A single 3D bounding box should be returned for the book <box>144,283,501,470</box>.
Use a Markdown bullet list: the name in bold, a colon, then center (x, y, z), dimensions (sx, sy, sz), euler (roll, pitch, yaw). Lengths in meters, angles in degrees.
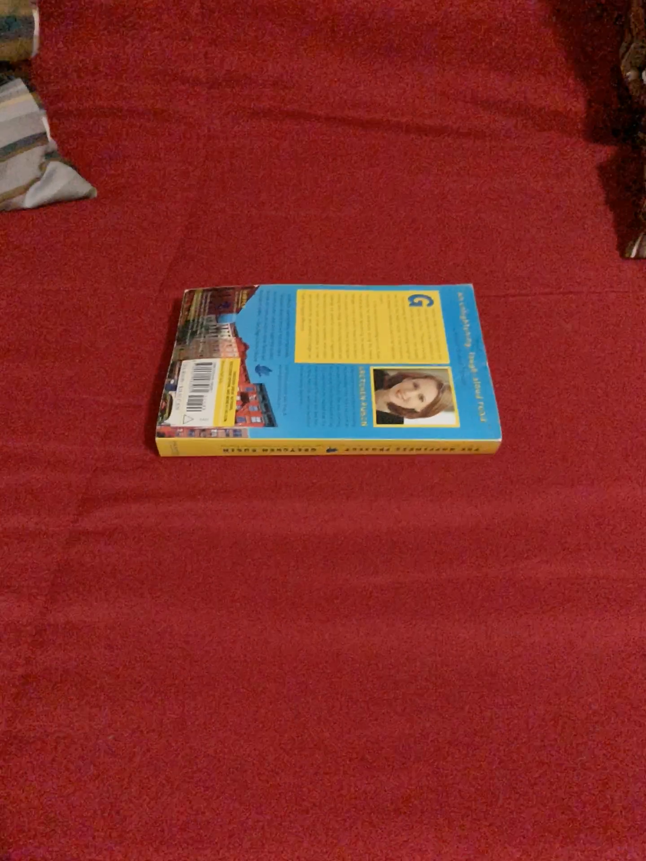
- **book**: center (0.000, -0.039, 0.430), dimensions (0.202, 0.033, 0.133), euler (0, 52, 1)
